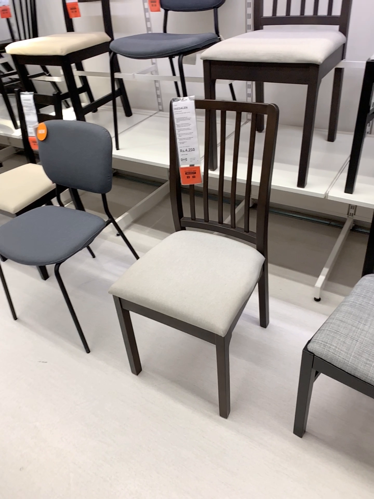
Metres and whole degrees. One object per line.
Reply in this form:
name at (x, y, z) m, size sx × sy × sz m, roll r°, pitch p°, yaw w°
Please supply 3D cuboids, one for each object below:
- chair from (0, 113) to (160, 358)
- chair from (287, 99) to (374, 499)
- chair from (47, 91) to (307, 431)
chair at (-0.576, -0.090, 1.687) m, size 0.571 × 0.786 × 0.612 m, roll 13°, pitch 42°, yaw 25°
chair at (0.630, 0.181, 0.993) m, size 0.481 × 0.916 × 0.531 m, roll 21°, pitch 46°, yaw 32°
chair at (0.044, 0.036, 1.274) m, size 0.481 × 0.916 × 0.531 m, roll 16°, pitch 43°, yaw 28°
